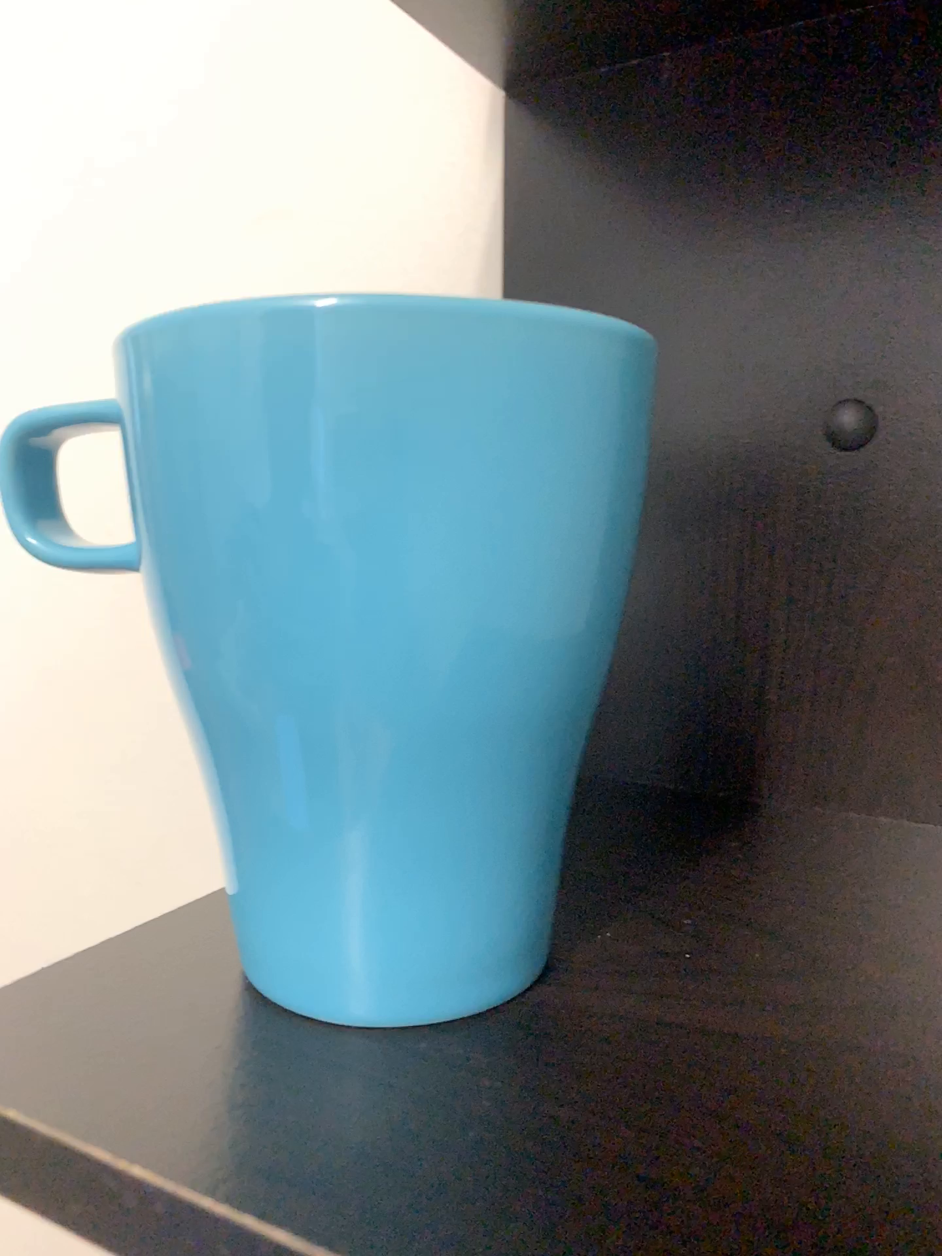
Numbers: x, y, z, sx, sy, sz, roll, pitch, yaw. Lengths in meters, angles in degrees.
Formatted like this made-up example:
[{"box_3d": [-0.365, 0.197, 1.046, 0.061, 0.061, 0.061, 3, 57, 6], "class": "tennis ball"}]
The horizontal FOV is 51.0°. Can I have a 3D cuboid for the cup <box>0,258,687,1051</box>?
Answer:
[{"box_3d": [-0.028, -0.001, 0.160, 0.110, 0.090, 0.090, 1, 5, 4], "class": "cup"}]
